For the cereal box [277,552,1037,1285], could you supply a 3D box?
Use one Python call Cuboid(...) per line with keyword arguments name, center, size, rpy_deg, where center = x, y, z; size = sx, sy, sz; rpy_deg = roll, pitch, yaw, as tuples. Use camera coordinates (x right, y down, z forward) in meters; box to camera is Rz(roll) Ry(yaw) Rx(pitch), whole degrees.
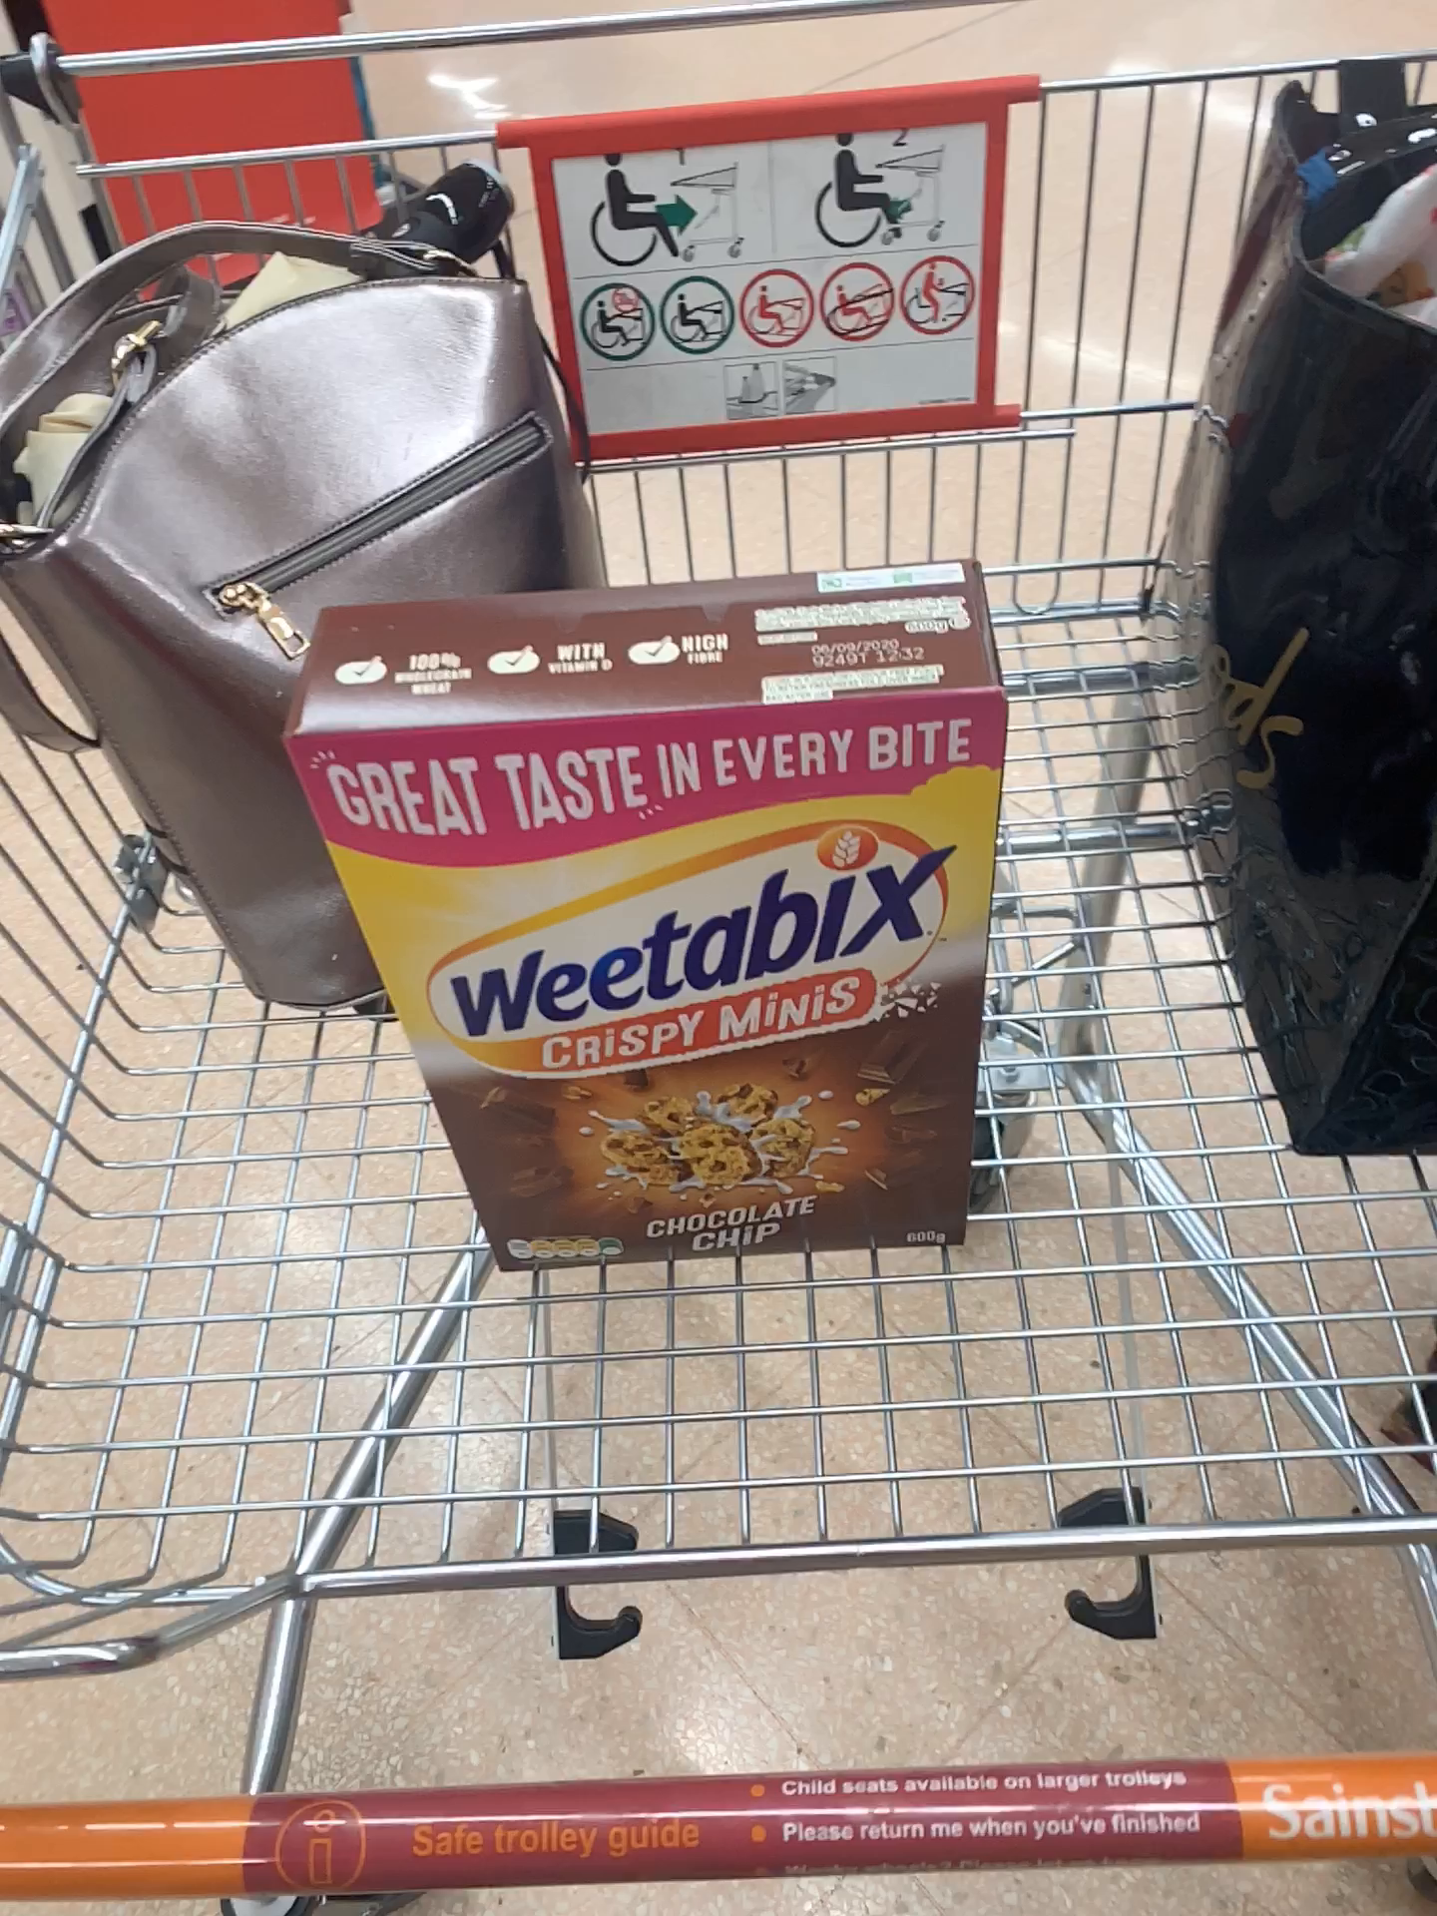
Cuboid(name="cereal box", center=(-0.009, 0.008, 0.488), size=(0.190, 0.278, 0.061), rpy_deg=(-3, 48, 2))
